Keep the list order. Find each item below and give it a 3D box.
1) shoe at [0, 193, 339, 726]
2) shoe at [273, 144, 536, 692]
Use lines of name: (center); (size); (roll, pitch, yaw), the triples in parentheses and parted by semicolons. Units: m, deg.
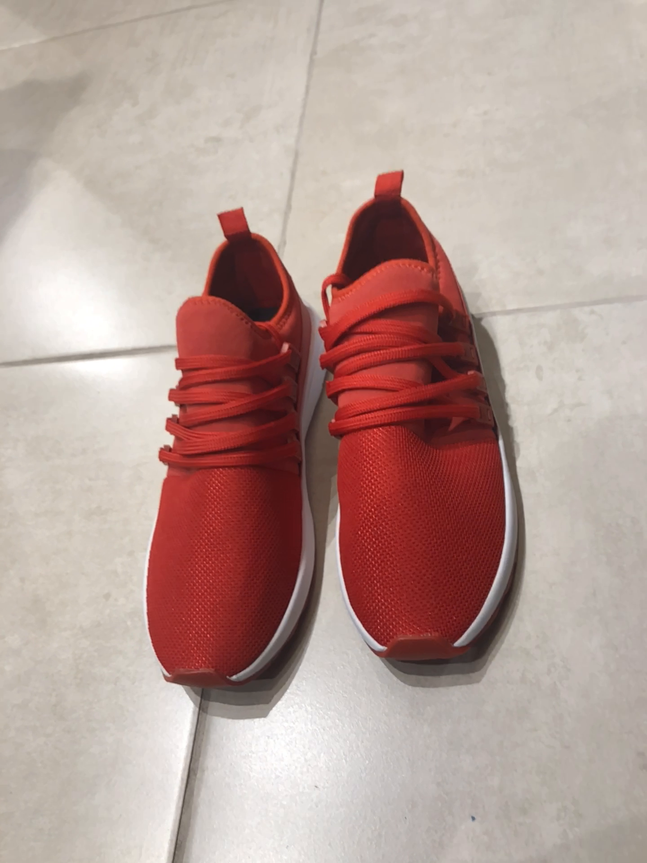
shoe: (-0.063, 0.010, 0.419); (0.100, 0.139, 0.271); (-4, 53, 13)
shoe: (0.046, -0.014, 0.407); (0.100, 0.139, 0.271); (-7, 53, 11)
